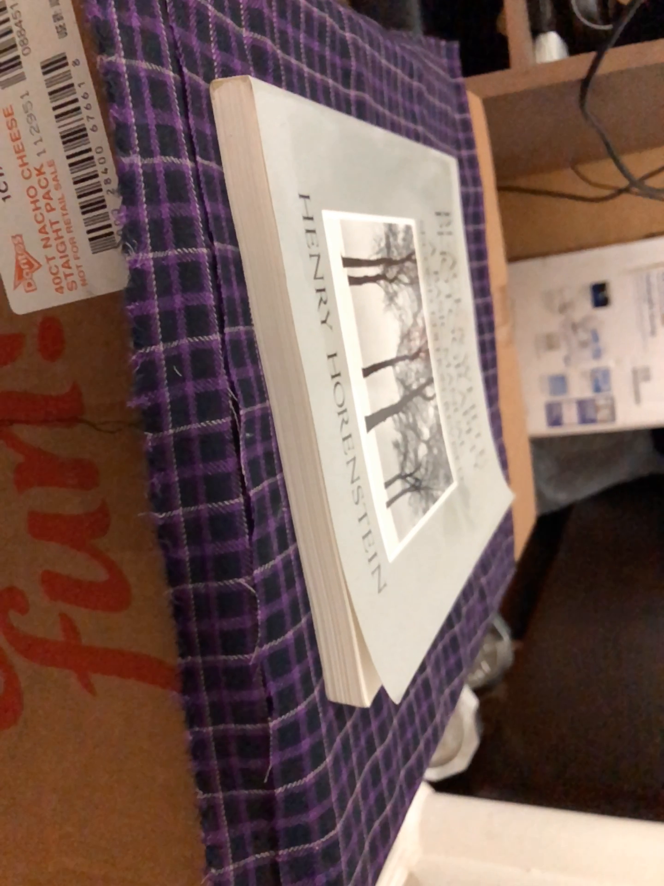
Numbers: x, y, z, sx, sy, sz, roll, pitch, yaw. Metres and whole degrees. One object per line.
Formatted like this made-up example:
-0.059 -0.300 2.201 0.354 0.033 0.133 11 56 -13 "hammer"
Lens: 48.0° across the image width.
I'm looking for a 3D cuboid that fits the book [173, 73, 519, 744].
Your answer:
0.035 -0.030 0.345 0.251 0.030 0.210 -30 112 -62 "book"
